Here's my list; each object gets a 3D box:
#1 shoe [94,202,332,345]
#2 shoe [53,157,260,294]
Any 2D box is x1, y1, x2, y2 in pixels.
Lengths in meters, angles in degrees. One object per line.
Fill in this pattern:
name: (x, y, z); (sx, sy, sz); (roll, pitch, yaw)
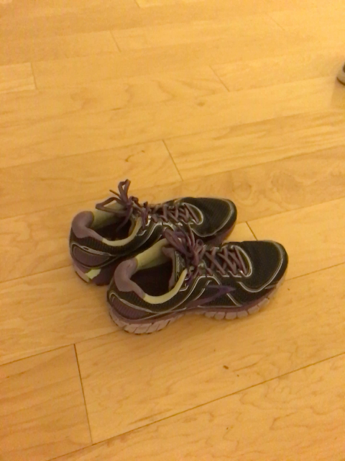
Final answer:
shoe: (0.047, 0.053, 0.511); (0.280, 0.079, 0.121); (-9, 53, -10)
shoe: (-0.025, -0.014, 0.569); (0.270, 0.079, 0.121); (-15, 54, -14)
